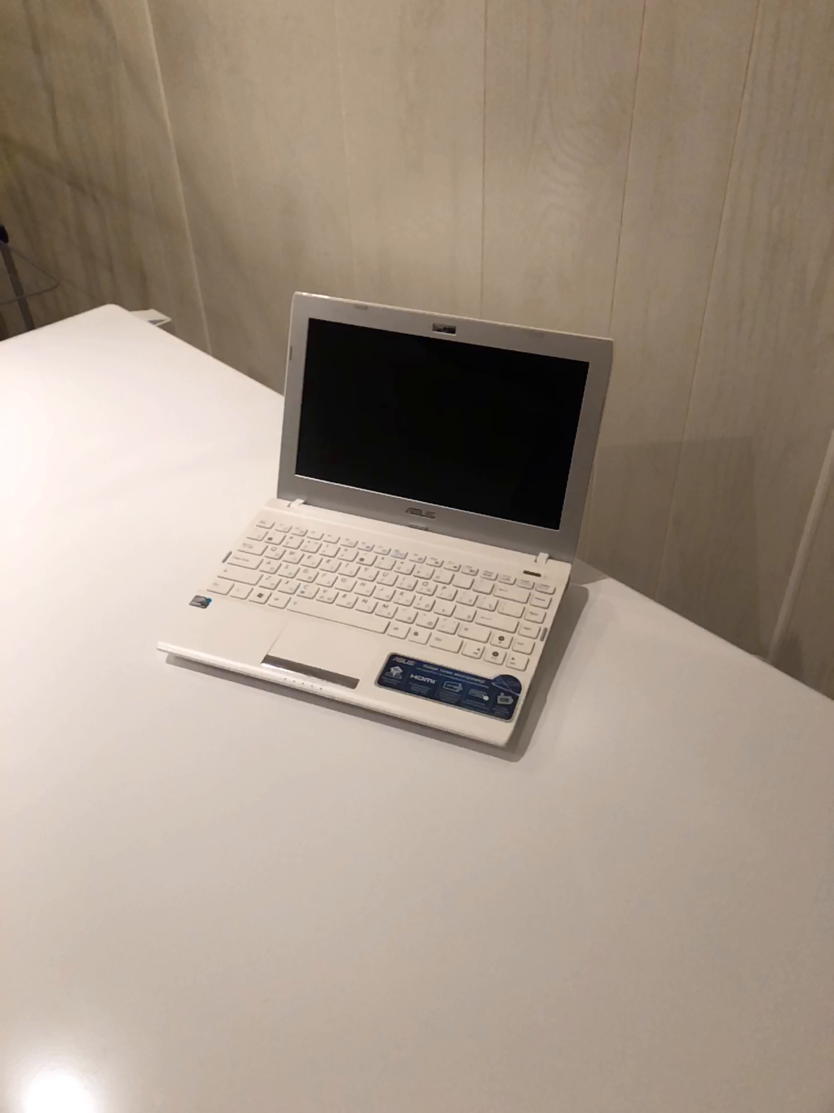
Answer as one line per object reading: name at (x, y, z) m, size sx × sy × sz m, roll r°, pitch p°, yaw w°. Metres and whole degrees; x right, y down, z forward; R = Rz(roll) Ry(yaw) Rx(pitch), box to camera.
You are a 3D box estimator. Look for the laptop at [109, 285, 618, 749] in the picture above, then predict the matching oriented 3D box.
laptop at (-0.021, -0.055, 0.733) m, size 0.287 × 0.168 × 0.294 m, roll 13°, pitch 43°, yaw 17°
